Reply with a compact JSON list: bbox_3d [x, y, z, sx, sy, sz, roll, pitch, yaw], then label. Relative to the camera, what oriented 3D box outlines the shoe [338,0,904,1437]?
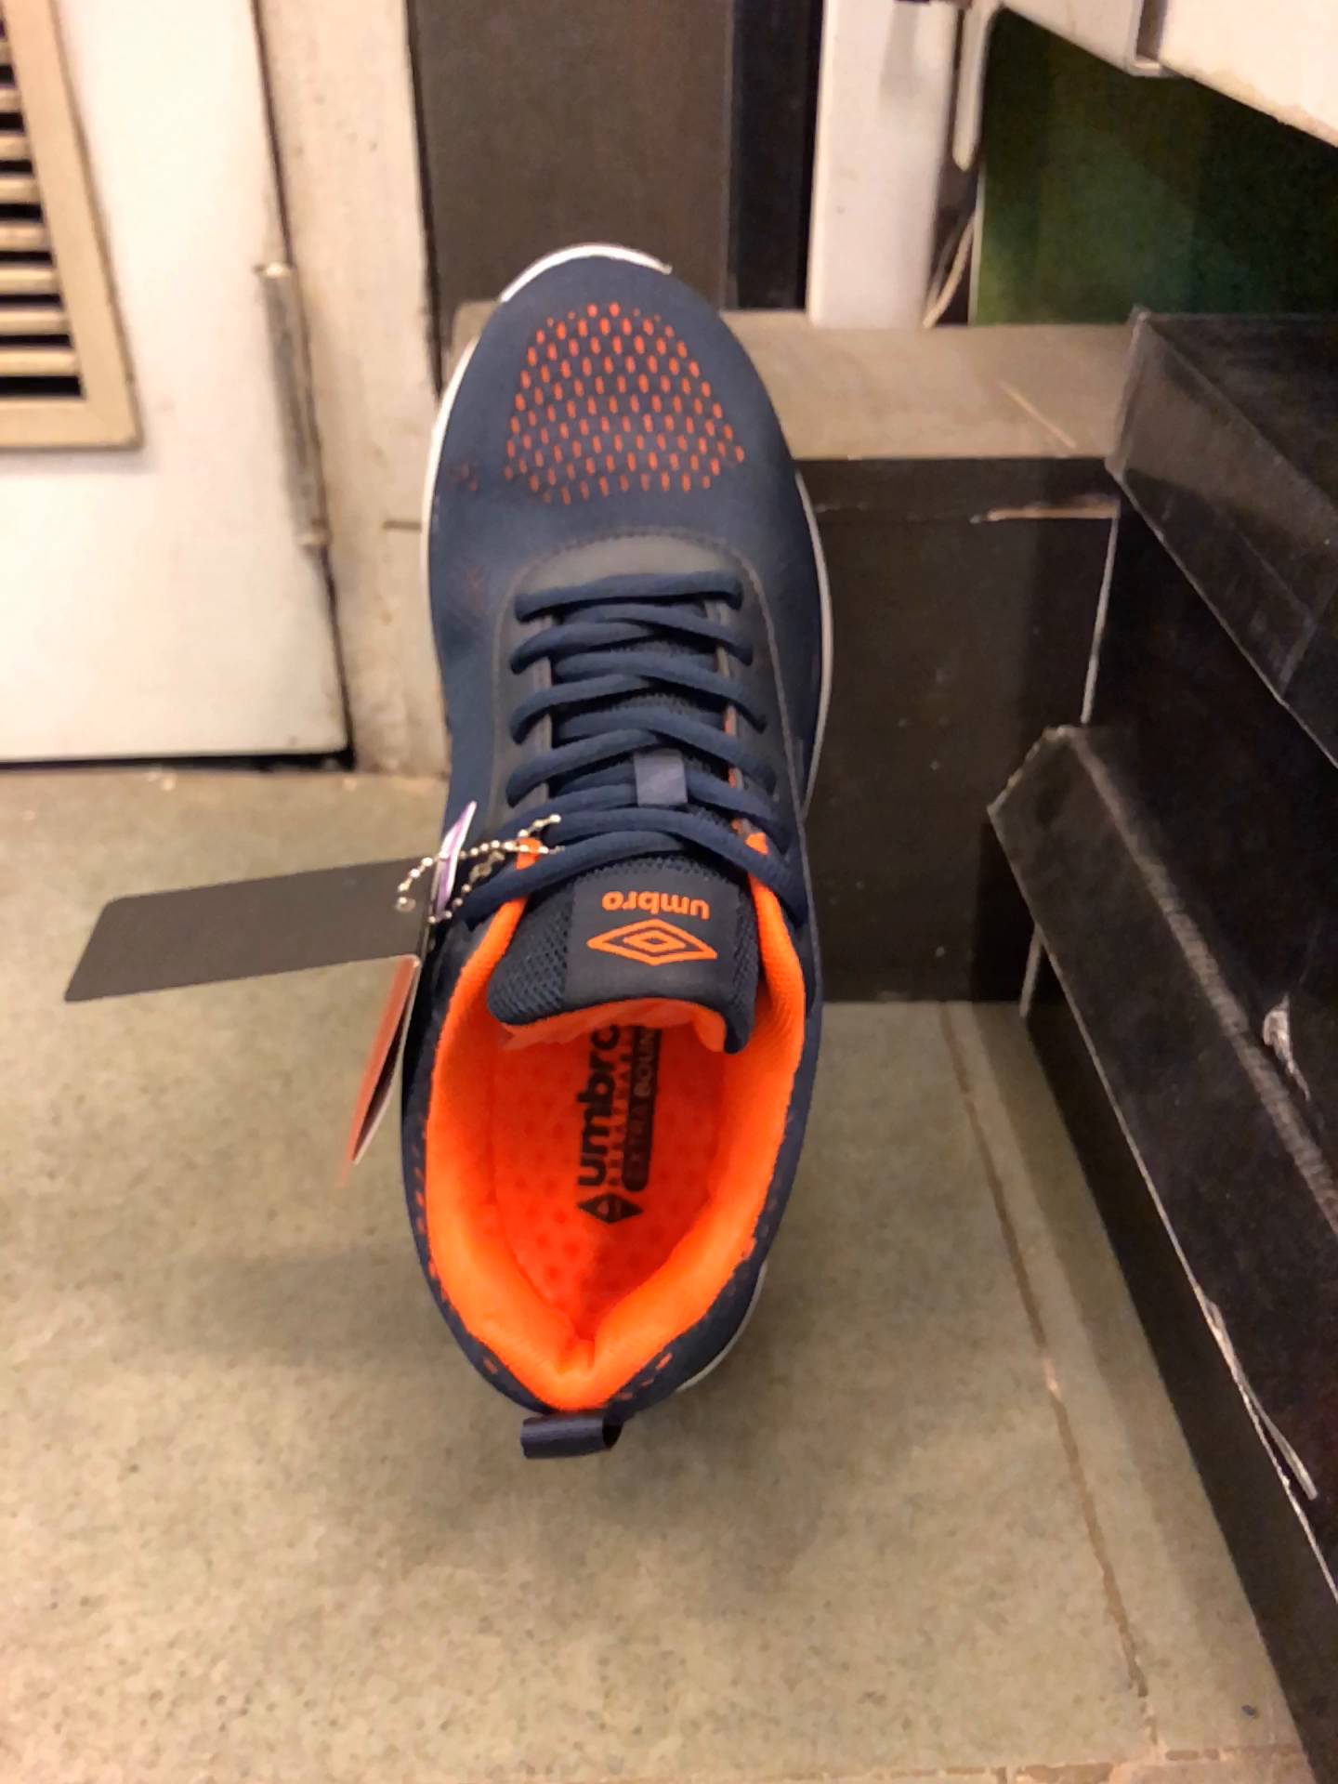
[{"bbox_3d":[-0.016,-0.031,0.342,0.092,0.259,0.133,3,3,-6],"label":"shoe"}]
